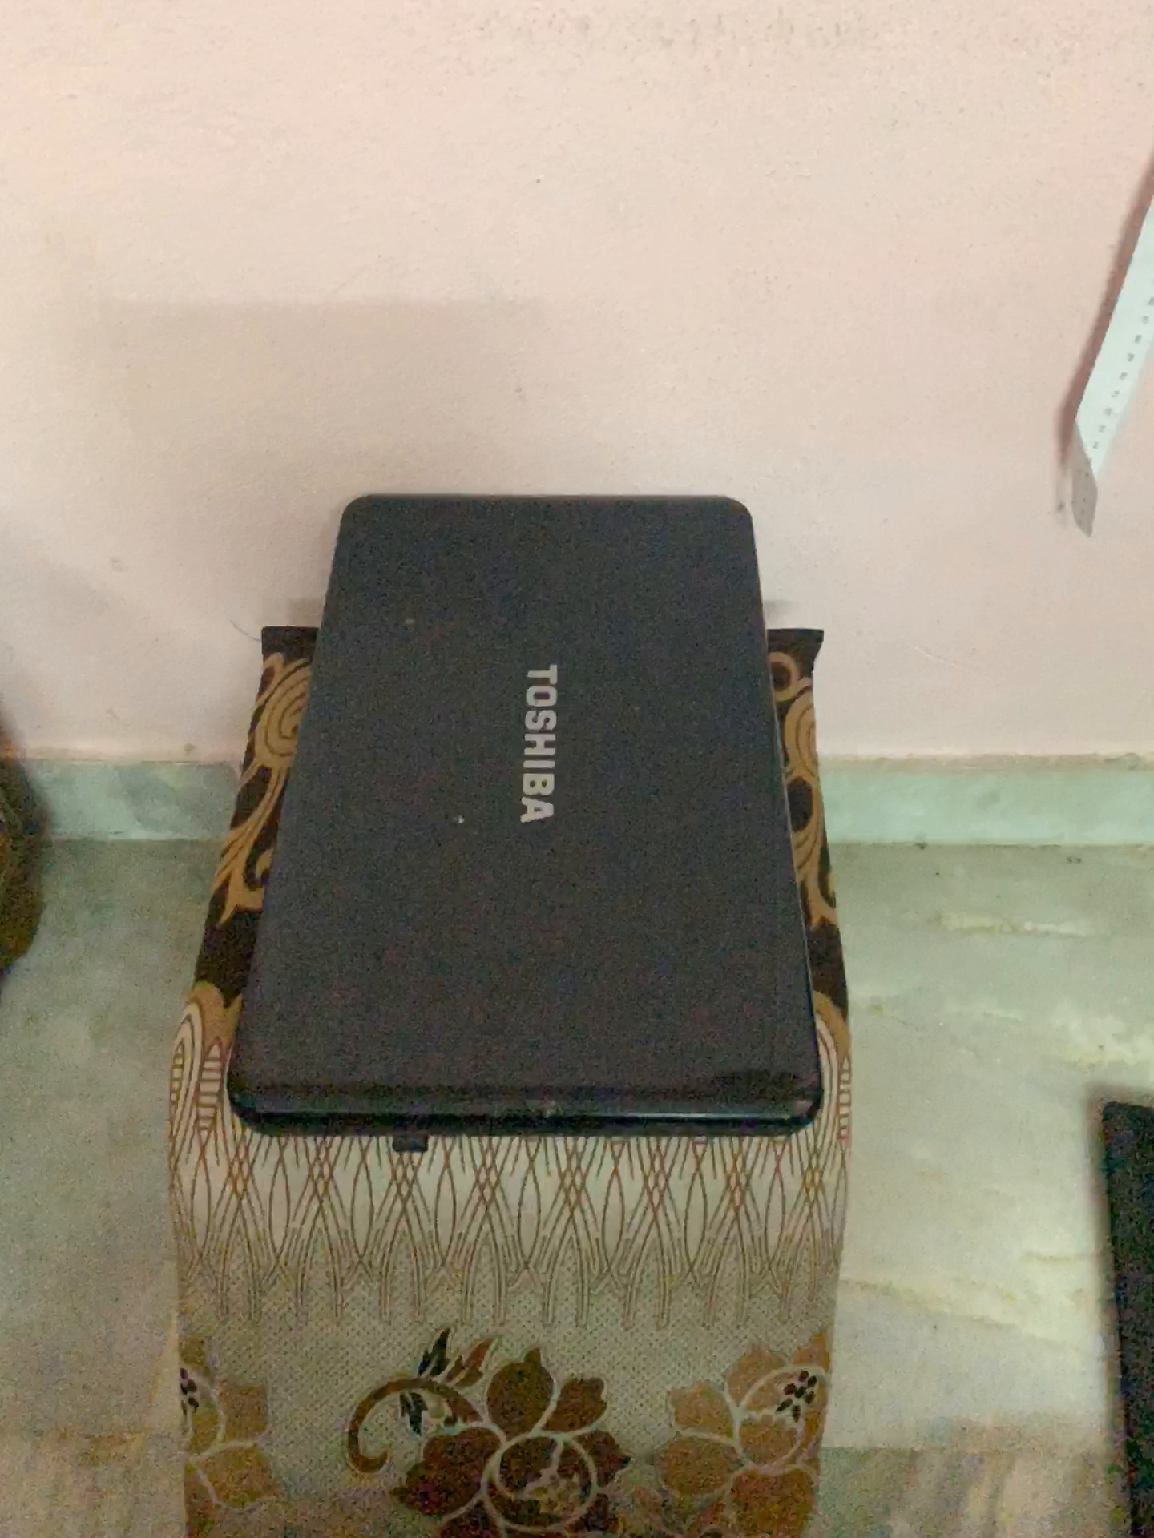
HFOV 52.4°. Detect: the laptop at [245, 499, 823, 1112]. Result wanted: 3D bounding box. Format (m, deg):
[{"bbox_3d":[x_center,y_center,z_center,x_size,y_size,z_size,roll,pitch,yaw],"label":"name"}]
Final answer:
[{"bbox_3d":[-0.019,-0.014,0.568,0.222,0.001,0.371,-1,51,1],"label":"laptop"}]
